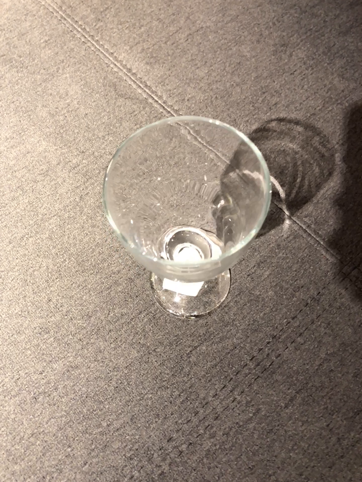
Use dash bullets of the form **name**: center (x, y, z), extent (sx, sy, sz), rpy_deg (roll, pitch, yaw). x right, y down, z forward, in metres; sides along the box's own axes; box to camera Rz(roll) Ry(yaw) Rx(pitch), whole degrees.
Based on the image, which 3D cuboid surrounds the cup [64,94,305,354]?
- **cup**: center (0.005, 0.006, 0.273), extent (0.090, 0.170, 0.090), rpy_deg (0, 68, 0)
